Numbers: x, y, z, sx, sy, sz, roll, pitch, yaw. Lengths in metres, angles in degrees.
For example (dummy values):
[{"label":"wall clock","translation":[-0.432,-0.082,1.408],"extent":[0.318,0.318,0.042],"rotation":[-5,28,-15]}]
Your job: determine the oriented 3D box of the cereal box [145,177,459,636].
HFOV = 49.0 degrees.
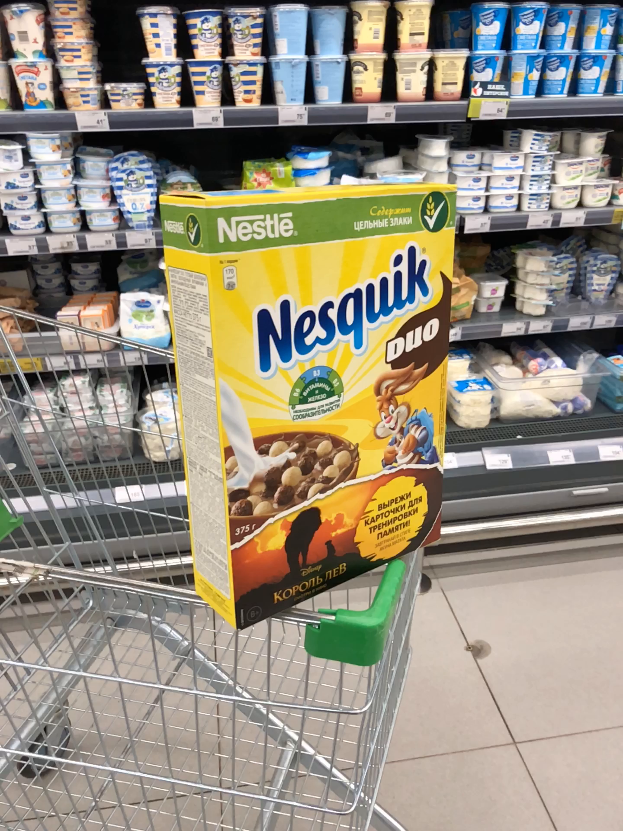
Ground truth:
[{"label":"cereal box","translation":[0.004,-0.016,0.479],"extent":[0.200,0.279,0.060],"rotation":[-15,24,-33]}]
